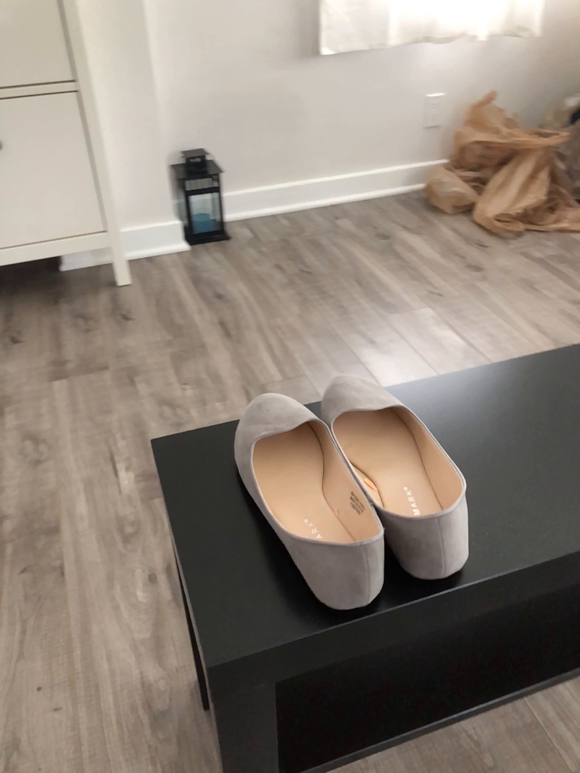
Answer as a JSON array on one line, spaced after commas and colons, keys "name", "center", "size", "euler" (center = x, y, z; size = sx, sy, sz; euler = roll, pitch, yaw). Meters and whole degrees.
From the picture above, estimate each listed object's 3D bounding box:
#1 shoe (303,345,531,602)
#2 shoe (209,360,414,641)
[{"name": "shoe", "center": [0.096, 0.060, 0.576], "size": [0.100, 0.060, 0.251], "euler": [-10, 37, -12]}, {"name": "shoe", "center": [0.004, 0.079, 0.554], "size": [0.100, 0.060, 0.257], "euler": [-10, 37, -12]}]
